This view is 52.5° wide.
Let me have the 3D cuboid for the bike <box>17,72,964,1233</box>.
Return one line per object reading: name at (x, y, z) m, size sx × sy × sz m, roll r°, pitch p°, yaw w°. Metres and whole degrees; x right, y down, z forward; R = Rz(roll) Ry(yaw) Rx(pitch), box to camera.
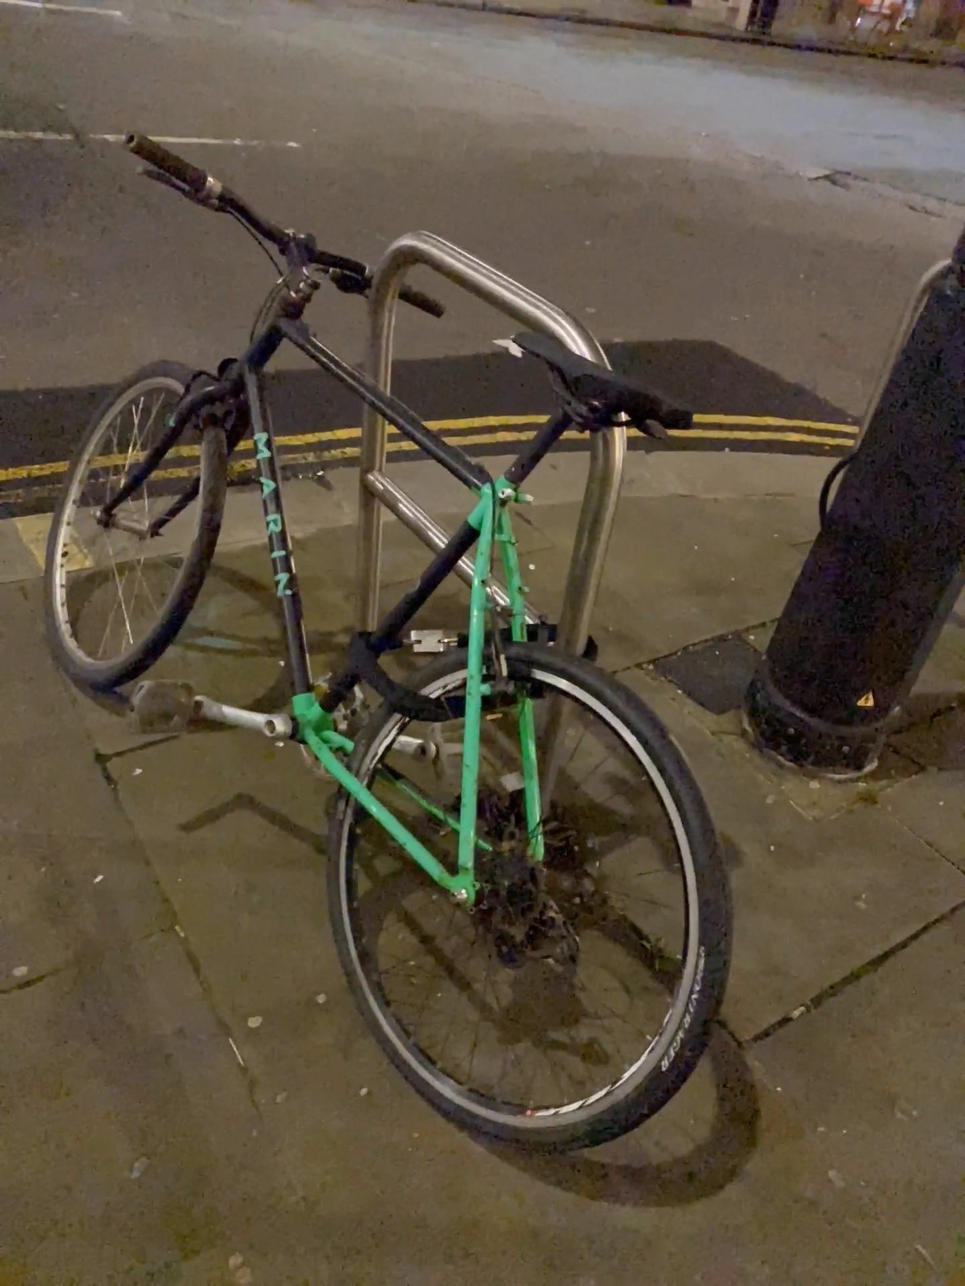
bike at (-0.070, -0.203, 1.629) m, size 0.641 × 1.014 × 1.691 m, roll -22°, pitch 46°, yaw -34°
